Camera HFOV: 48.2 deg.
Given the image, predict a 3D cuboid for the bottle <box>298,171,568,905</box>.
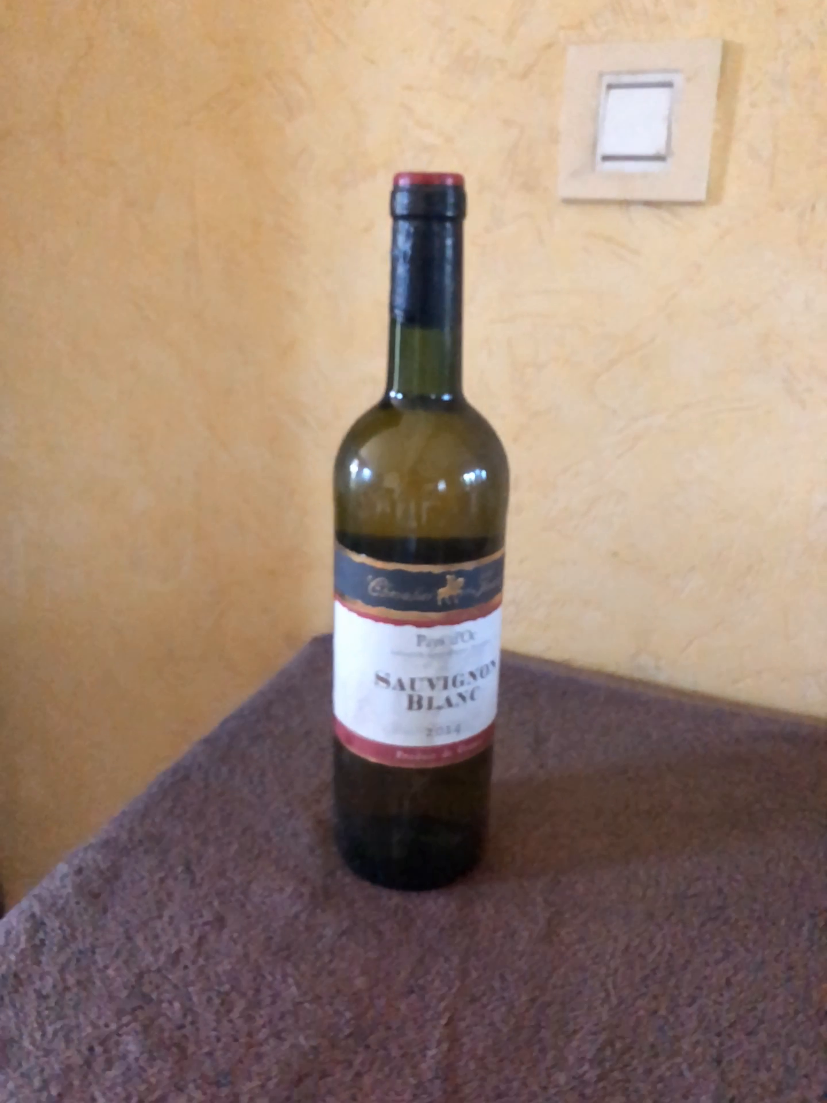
[{"bbox_3d":[0.002,-0.003,0.393,0.080,0.289,0.080,1,19,0],"label":"bottle"}]
